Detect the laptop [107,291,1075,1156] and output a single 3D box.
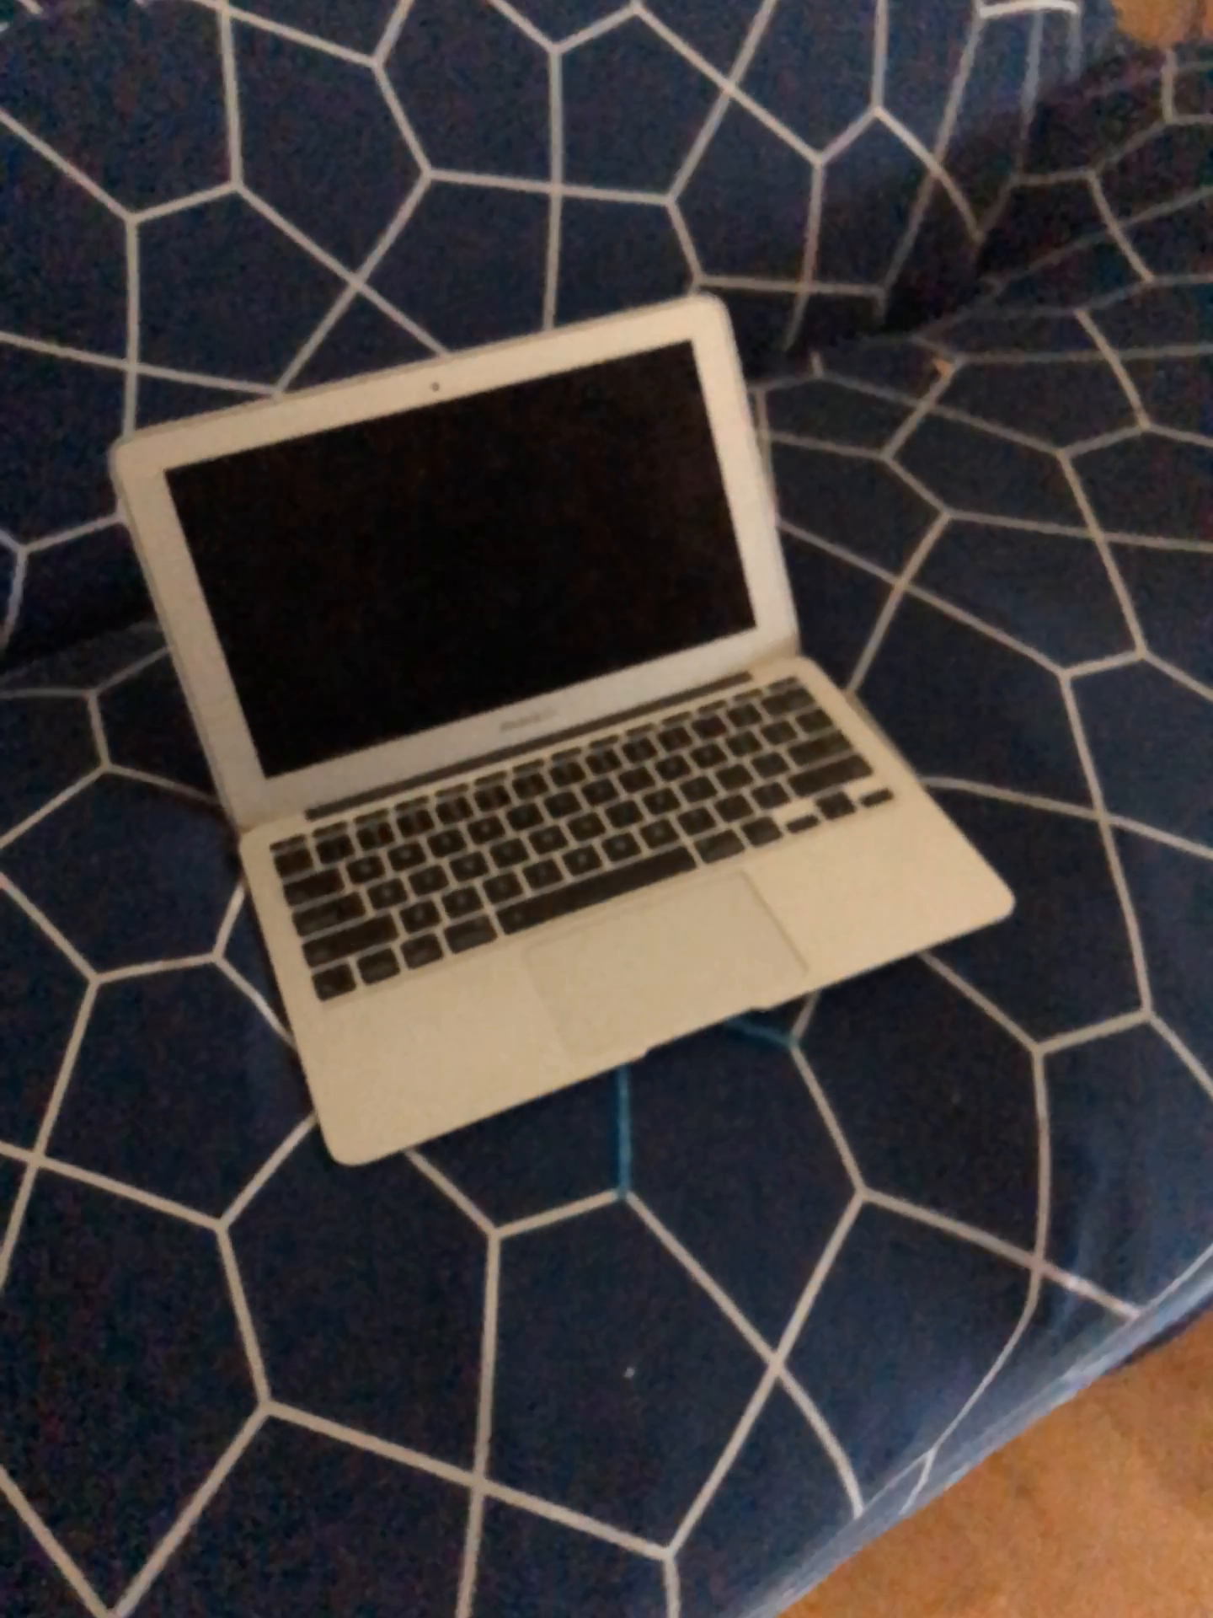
[{"bbox_3d":[-0.022,-0.061,0.566,0.281,0.156,0.281,-18,45,-15],"label":"laptop"}]
